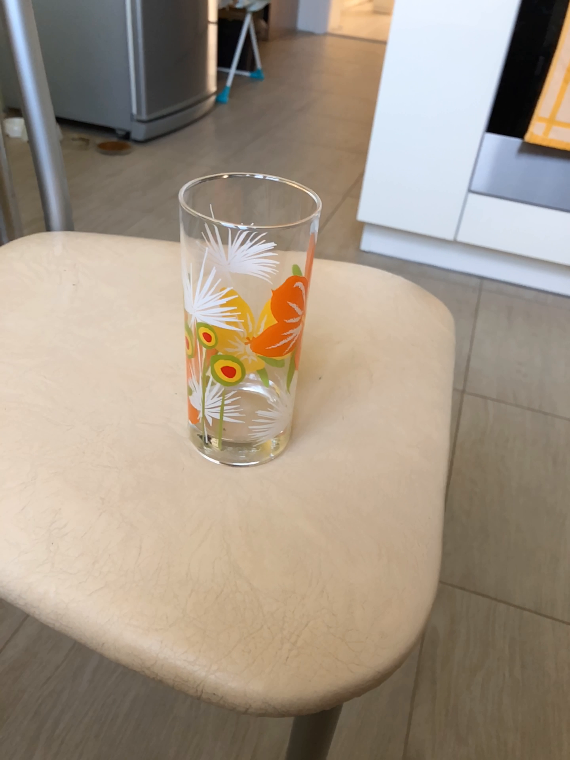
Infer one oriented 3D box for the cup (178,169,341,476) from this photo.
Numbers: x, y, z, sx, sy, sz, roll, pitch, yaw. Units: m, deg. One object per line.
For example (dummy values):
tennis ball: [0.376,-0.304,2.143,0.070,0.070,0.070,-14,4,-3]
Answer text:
cup: [-0.020,-0.024,0.307,0.063,0.133,0.061,4,36,-3]
